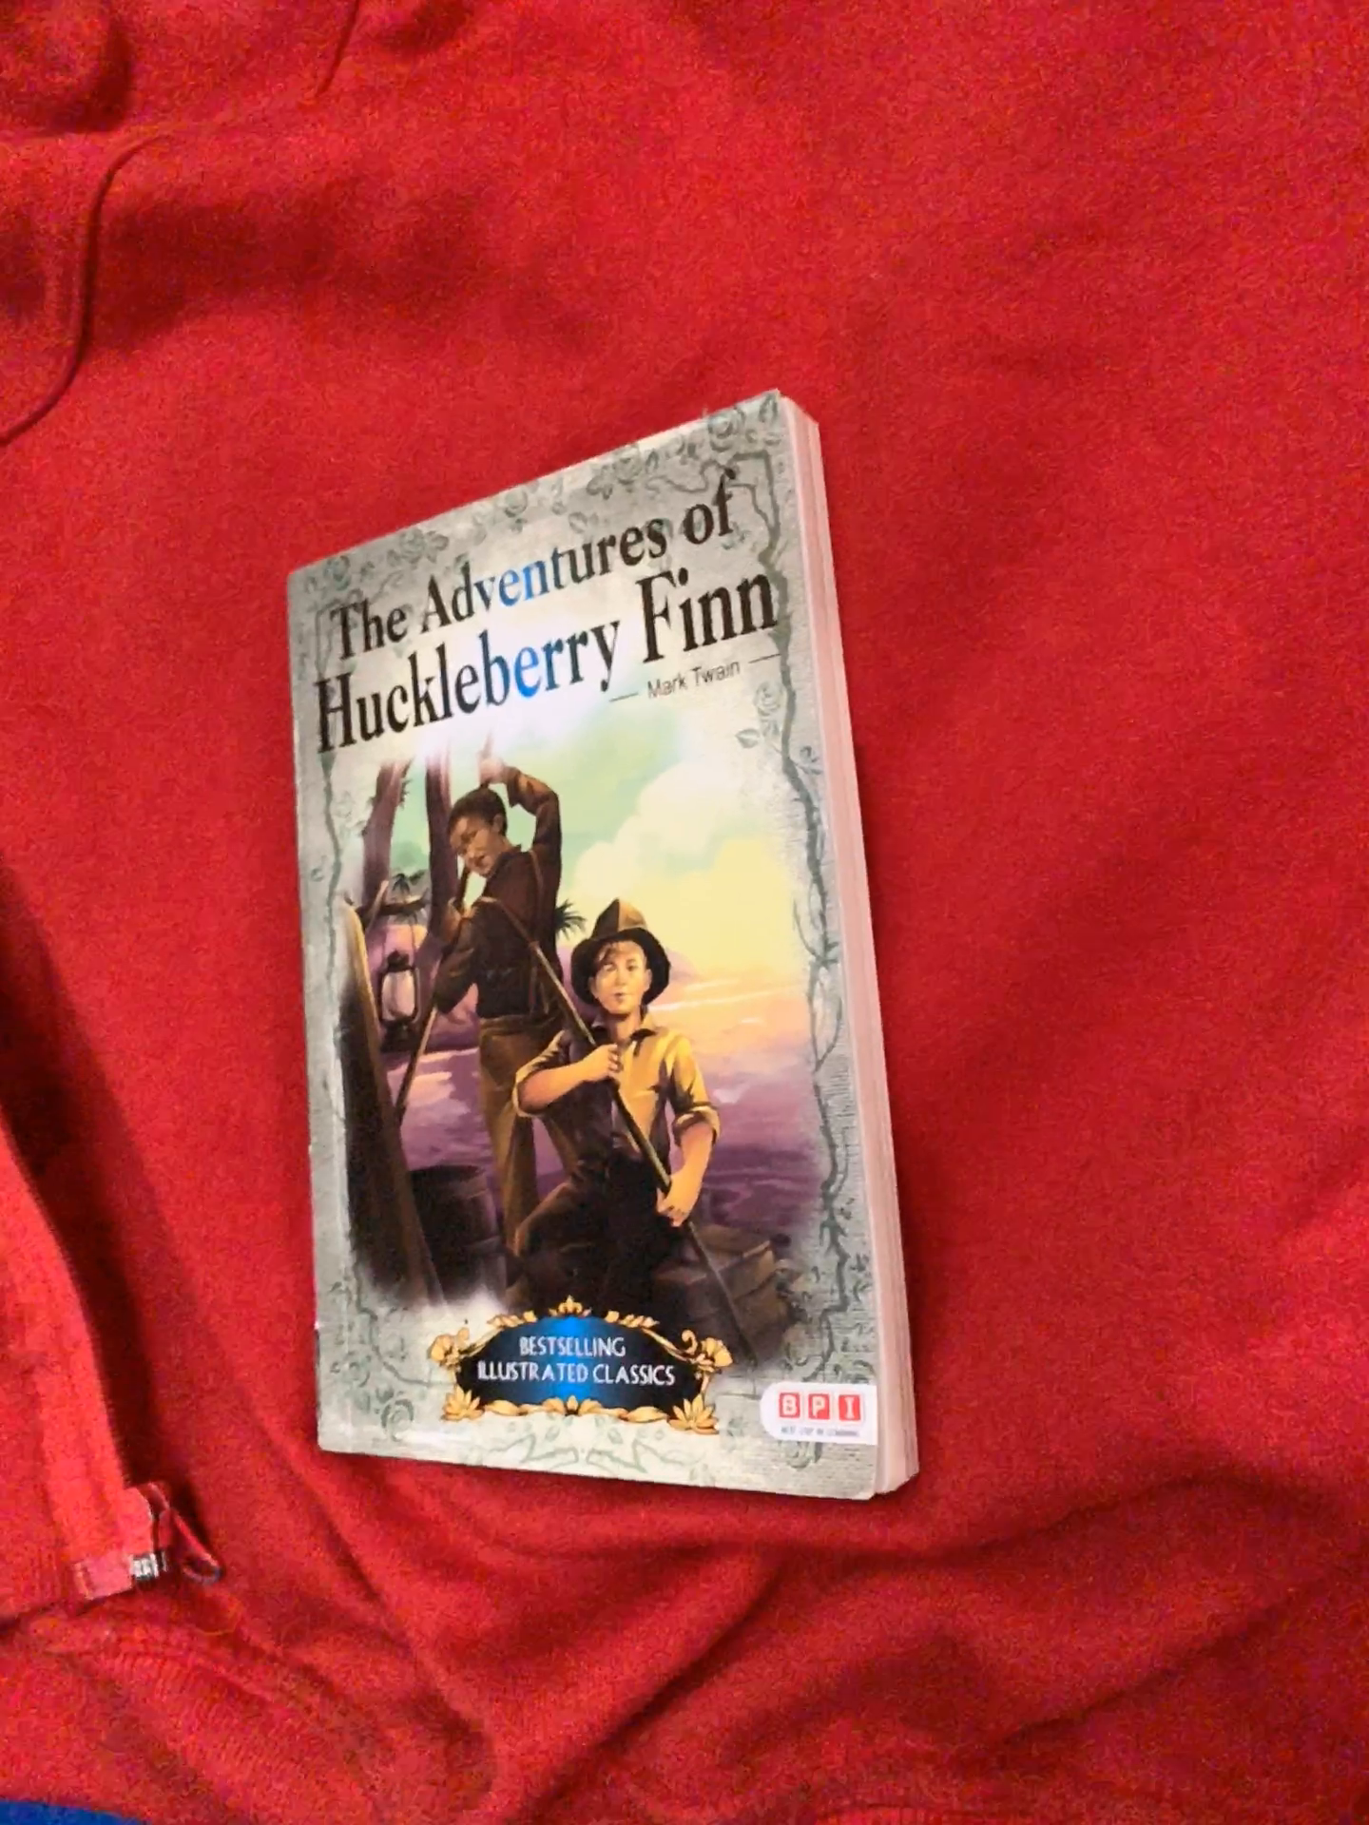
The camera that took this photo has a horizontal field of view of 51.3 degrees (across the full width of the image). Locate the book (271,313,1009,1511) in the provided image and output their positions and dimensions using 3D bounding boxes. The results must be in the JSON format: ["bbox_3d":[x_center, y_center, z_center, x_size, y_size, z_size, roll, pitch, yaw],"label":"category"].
[{"bbox_3d":[-0.018,0.004,0.253,0.130,0.020,0.180,-9,79,31],"label":"book"}]
